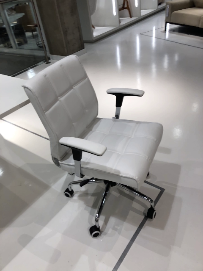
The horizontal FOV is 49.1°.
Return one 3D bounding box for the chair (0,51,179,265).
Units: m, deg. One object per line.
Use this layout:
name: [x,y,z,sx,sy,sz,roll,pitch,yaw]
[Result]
chair: [-0.015,0.074,1.320,0.721,0.923,0.664,11,40,26]
